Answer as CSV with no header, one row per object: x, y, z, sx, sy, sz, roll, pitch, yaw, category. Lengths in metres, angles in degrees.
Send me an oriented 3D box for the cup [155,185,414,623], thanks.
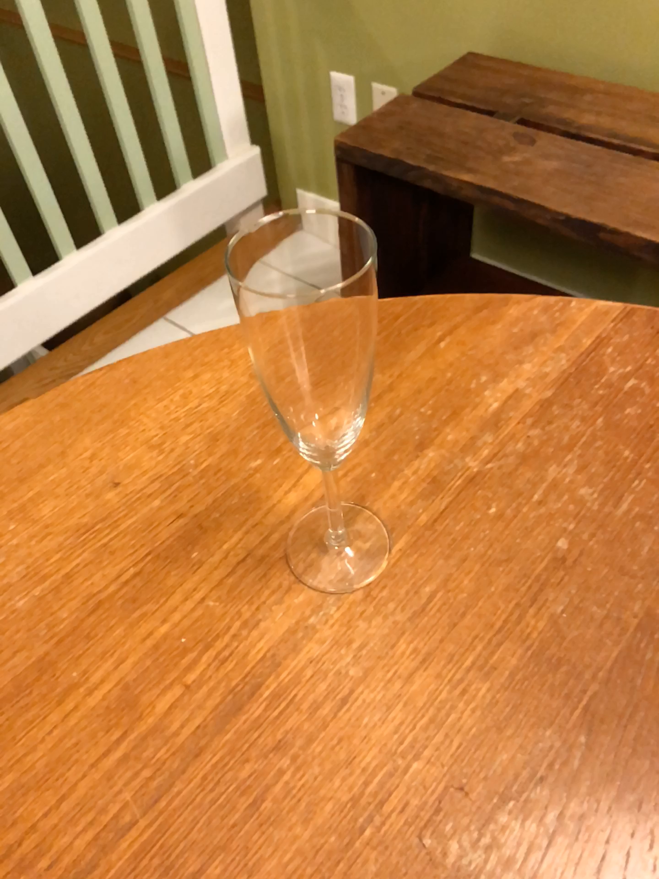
-0.009,-0.005,0.367,0.070,0.211,0.077,31,58,30,cup
